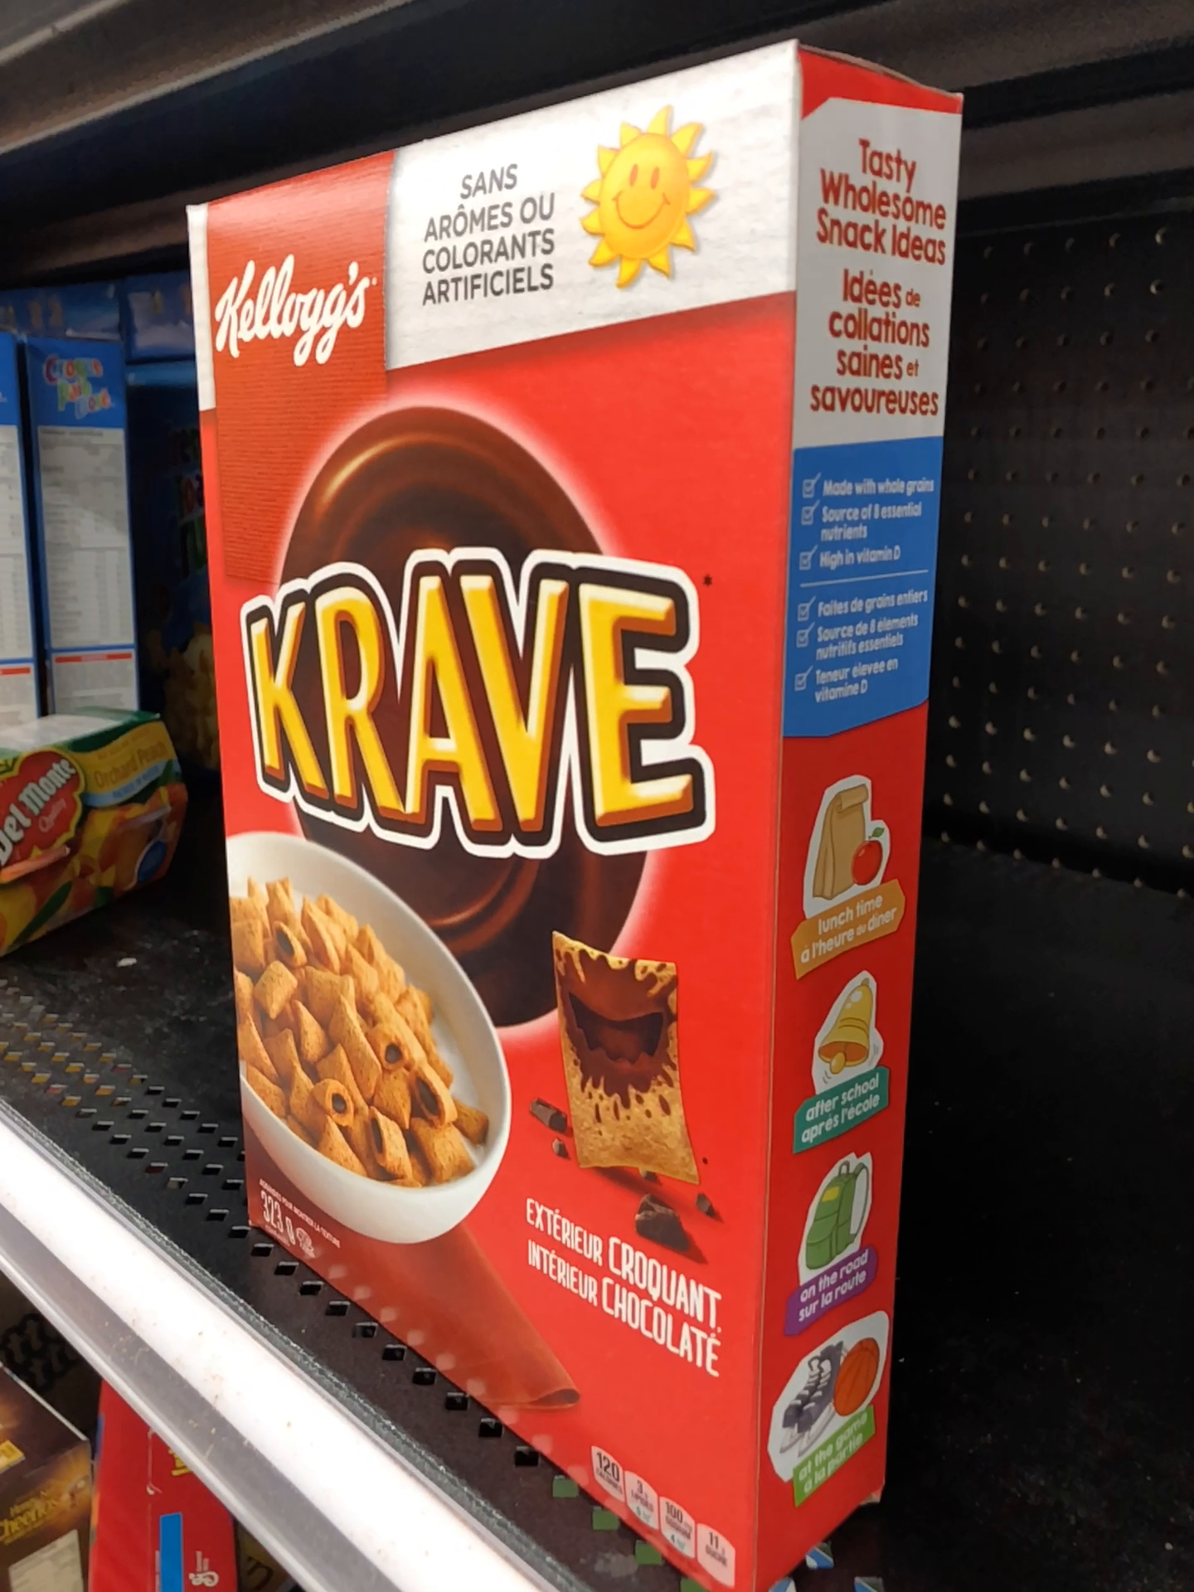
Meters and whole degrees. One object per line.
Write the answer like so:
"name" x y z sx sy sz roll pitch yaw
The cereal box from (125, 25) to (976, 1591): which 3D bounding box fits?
"cereal box" -0.030 0.004 0.308 0.050 0.279 0.211 -12 18 -43
